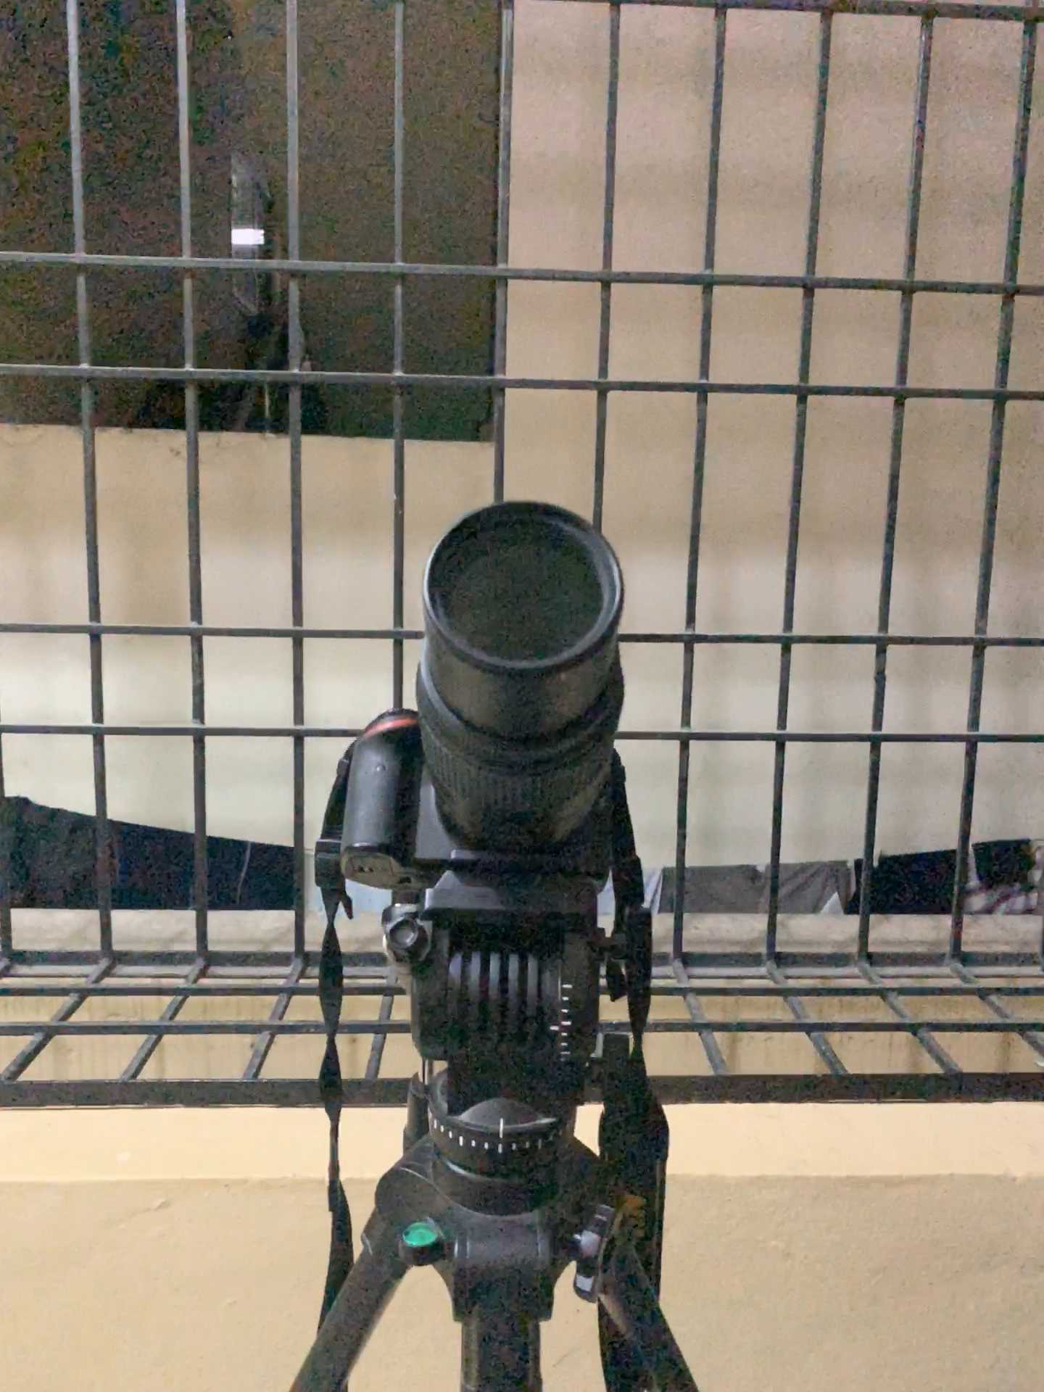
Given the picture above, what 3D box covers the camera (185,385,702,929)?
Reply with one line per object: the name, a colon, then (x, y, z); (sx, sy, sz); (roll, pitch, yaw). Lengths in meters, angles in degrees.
camera: (-0.020, 0.002, 0.395); (0.136, 0.101, 0.209); (1, -31, 1)
